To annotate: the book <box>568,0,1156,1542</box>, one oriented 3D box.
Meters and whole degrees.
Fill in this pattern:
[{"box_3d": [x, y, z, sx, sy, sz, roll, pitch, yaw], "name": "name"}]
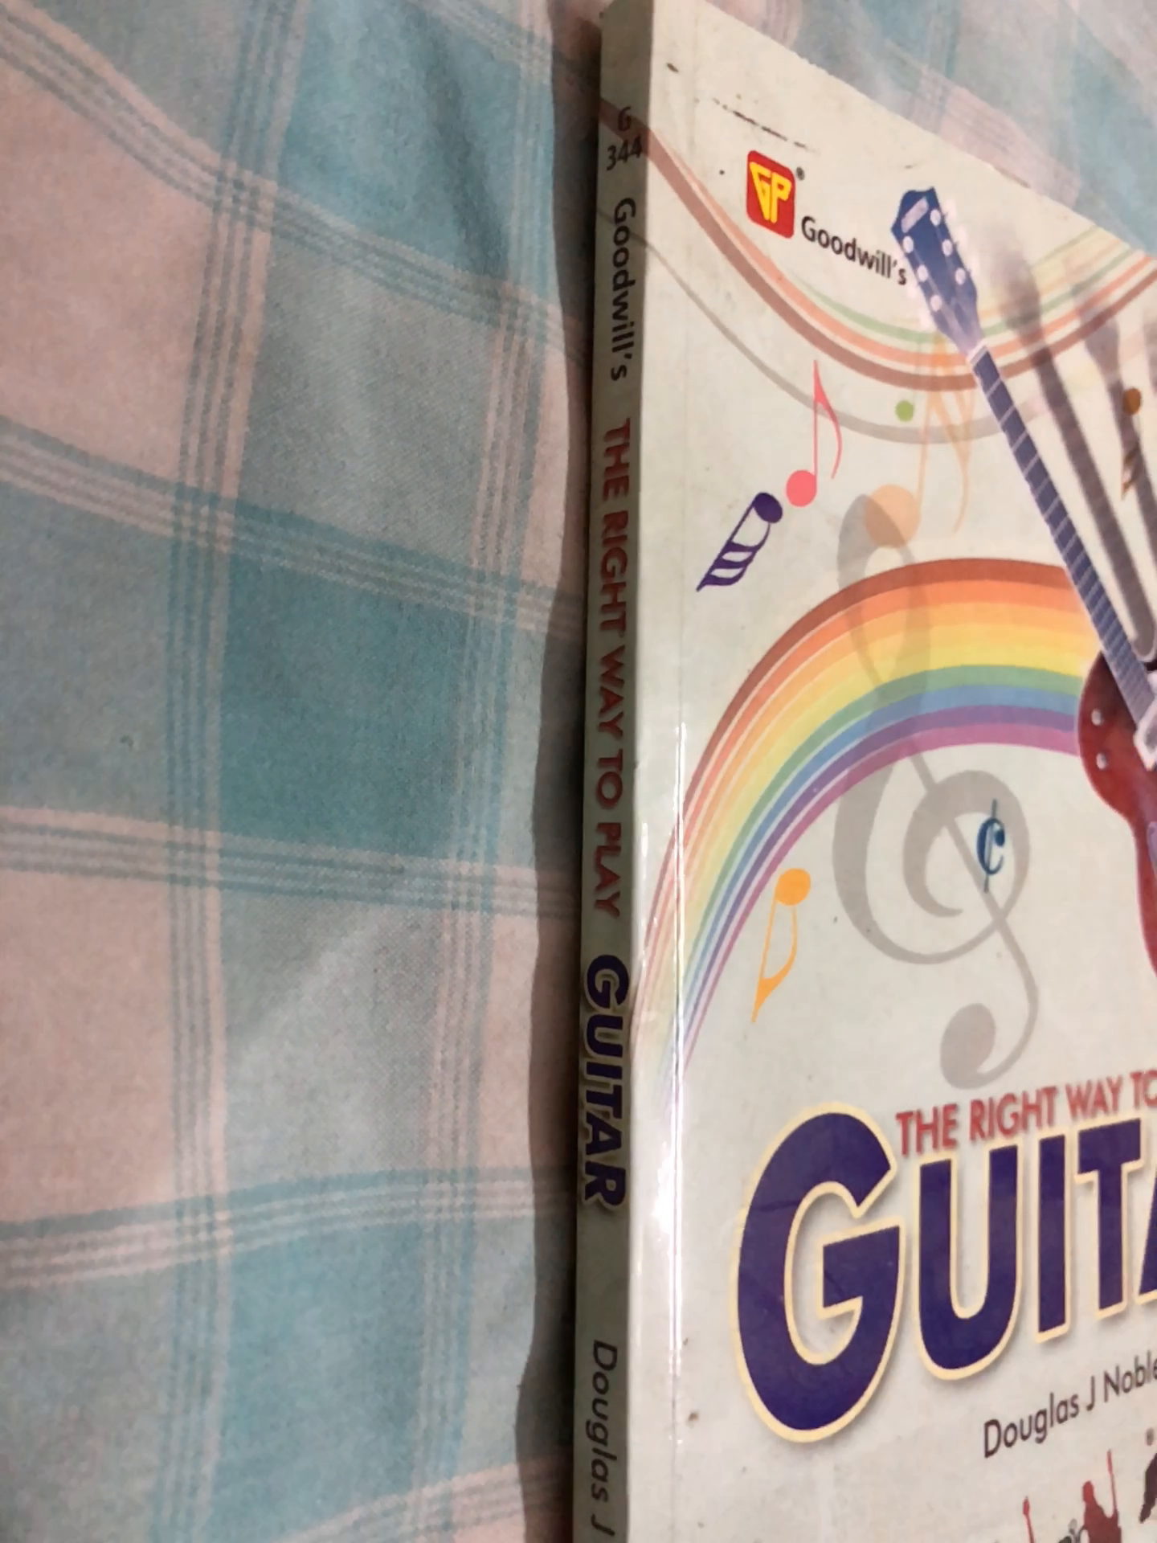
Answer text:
[{"box_3d": [0.080, 0.026, 0.208, 0.181, 0.030, 0.240, 4, 84, -38], "name": "book"}]
